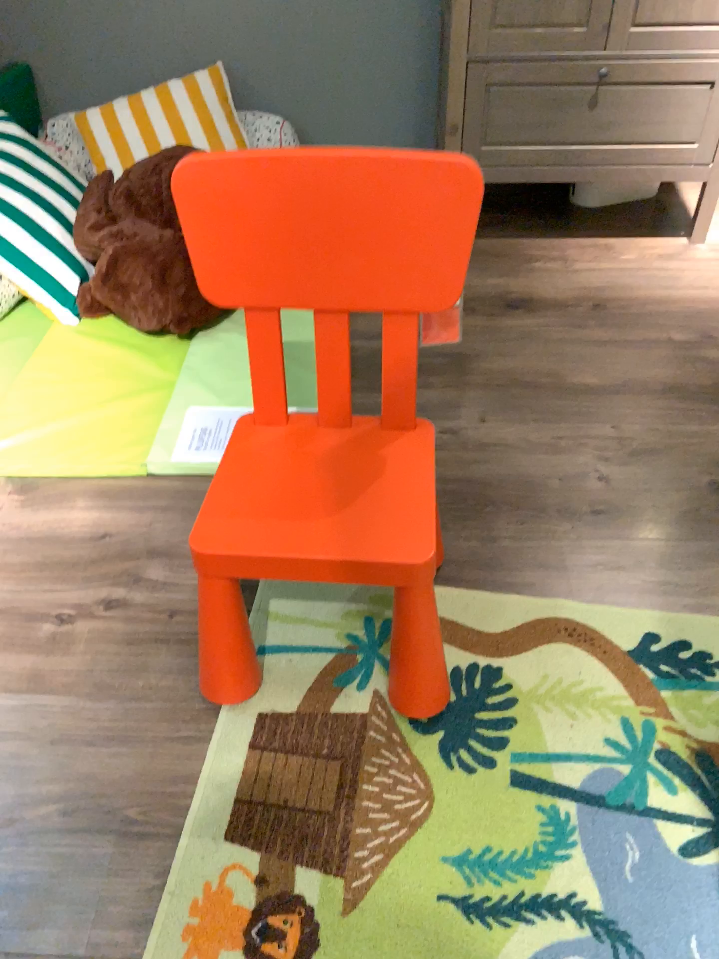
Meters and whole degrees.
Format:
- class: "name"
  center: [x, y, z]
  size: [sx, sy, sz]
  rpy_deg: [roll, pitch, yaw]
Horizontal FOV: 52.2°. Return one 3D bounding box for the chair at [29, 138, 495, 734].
- class: "chair"
  center: [-0.051, -0.054, 0.955]
  size: [0.380, 0.598, 0.462]
  rpy_deg: [3, 42, 6]
